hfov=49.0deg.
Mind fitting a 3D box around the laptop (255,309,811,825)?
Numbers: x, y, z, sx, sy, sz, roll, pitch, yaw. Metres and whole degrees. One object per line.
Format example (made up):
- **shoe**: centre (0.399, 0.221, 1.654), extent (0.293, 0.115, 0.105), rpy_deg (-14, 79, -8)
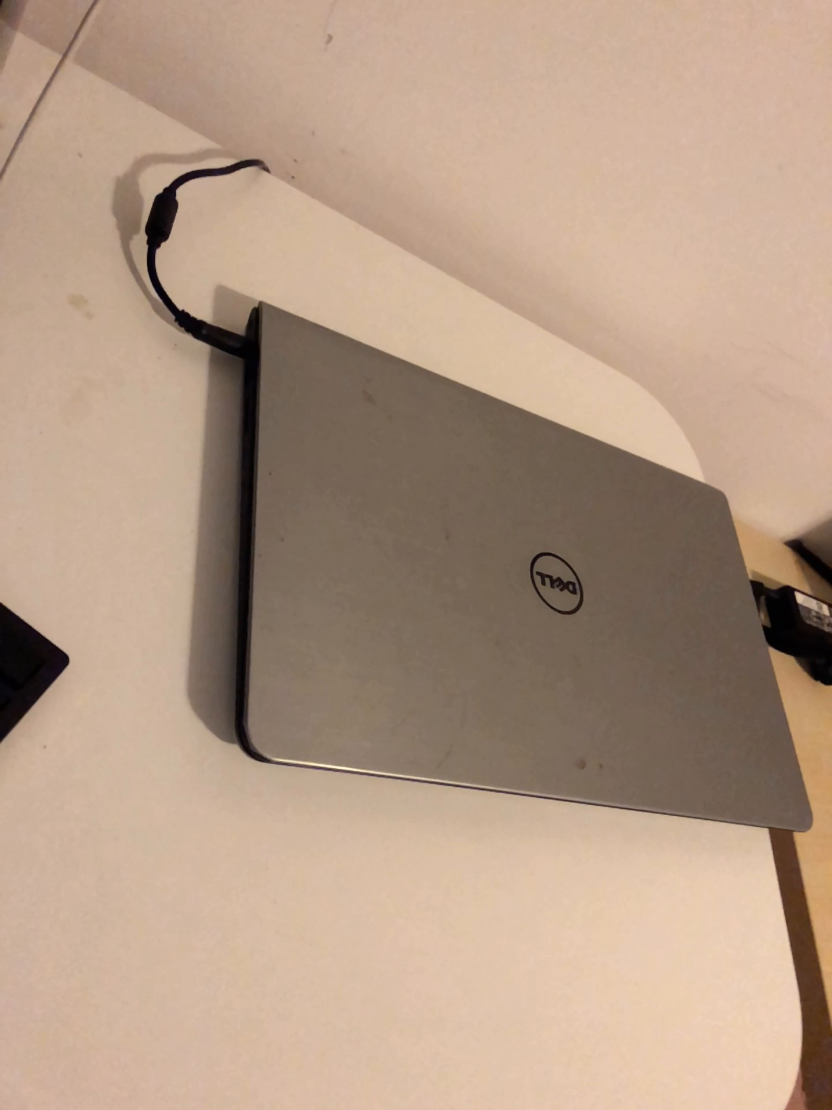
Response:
- **laptop**: centre (0.082, 0.015, 0.536), extent (0.372, 0.001, 0.247), rpy_deg (16, 55, -29)
